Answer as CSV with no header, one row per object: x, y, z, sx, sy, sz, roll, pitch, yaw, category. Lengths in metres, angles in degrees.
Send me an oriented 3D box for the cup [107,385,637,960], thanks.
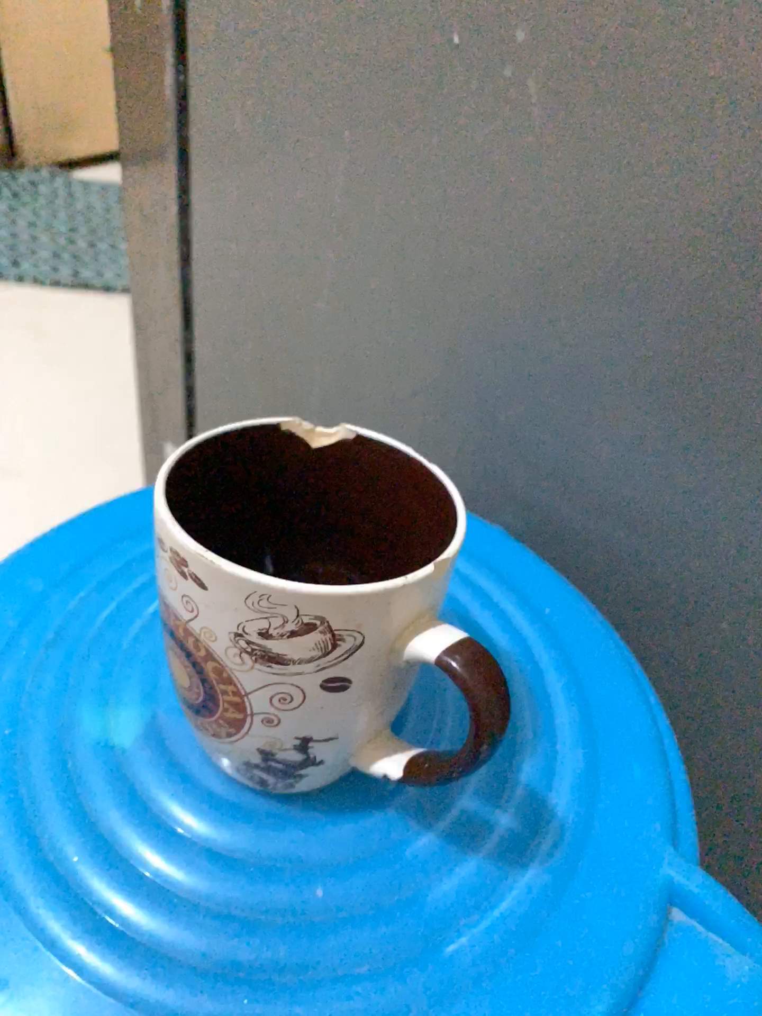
-0.011,0.033,0.220,0.080,0.079,0.111,-20,45,-38,cup
